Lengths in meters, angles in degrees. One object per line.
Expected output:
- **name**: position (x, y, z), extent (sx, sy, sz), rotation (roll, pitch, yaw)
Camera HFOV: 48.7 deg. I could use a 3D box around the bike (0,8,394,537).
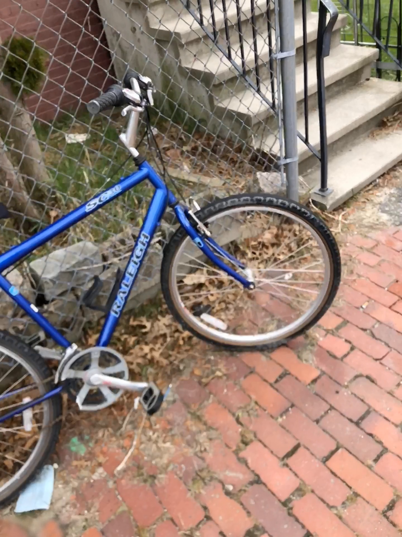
- **bike**: position (-0.381, 0.005, 1.374), extent (1.665, 1.024, 0.683), rotation (-24, 37, -13)
